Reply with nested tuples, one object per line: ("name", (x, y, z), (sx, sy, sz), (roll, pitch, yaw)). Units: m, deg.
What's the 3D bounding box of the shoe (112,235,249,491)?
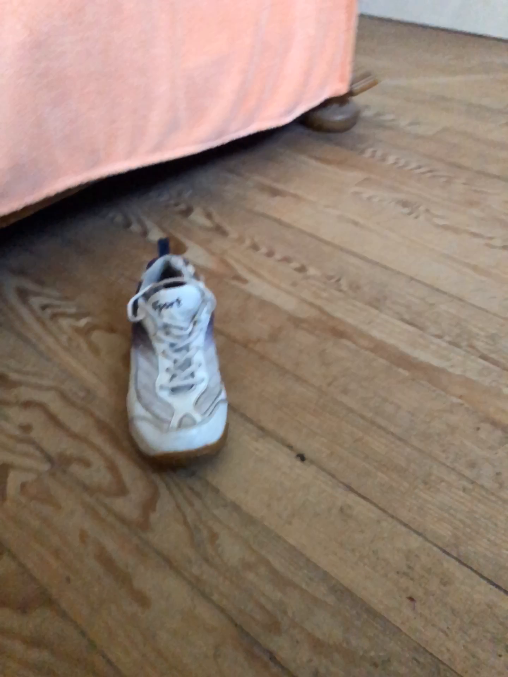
("shoe", (-0.081, 0.011, 0.589), (0.110, 0.099, 0.261), (-7, 44, -6))
